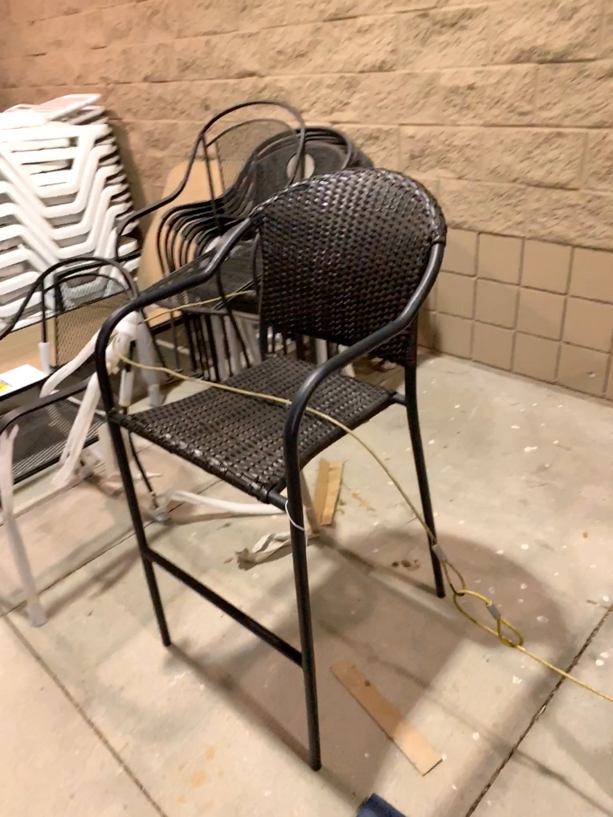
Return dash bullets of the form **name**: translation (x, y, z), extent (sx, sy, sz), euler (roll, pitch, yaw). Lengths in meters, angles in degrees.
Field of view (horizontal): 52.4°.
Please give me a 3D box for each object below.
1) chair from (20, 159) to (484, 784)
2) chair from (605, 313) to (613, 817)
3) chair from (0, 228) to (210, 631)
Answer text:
- **chair**: translation (-0.042, 0.101, 1.380), extent (0.559, 1.101, 0.609), euler (21, 39, 37)
- **chair**: translation (0.936, 0.418, 0.884), extent (0.628, 0.832, 0.569), euler (-22, 34, -26)
- **chair**: translation (-0.763, 0.011, 1.778), extent (0.579, 0.832, 0.609), euler (19, 38, 35)
